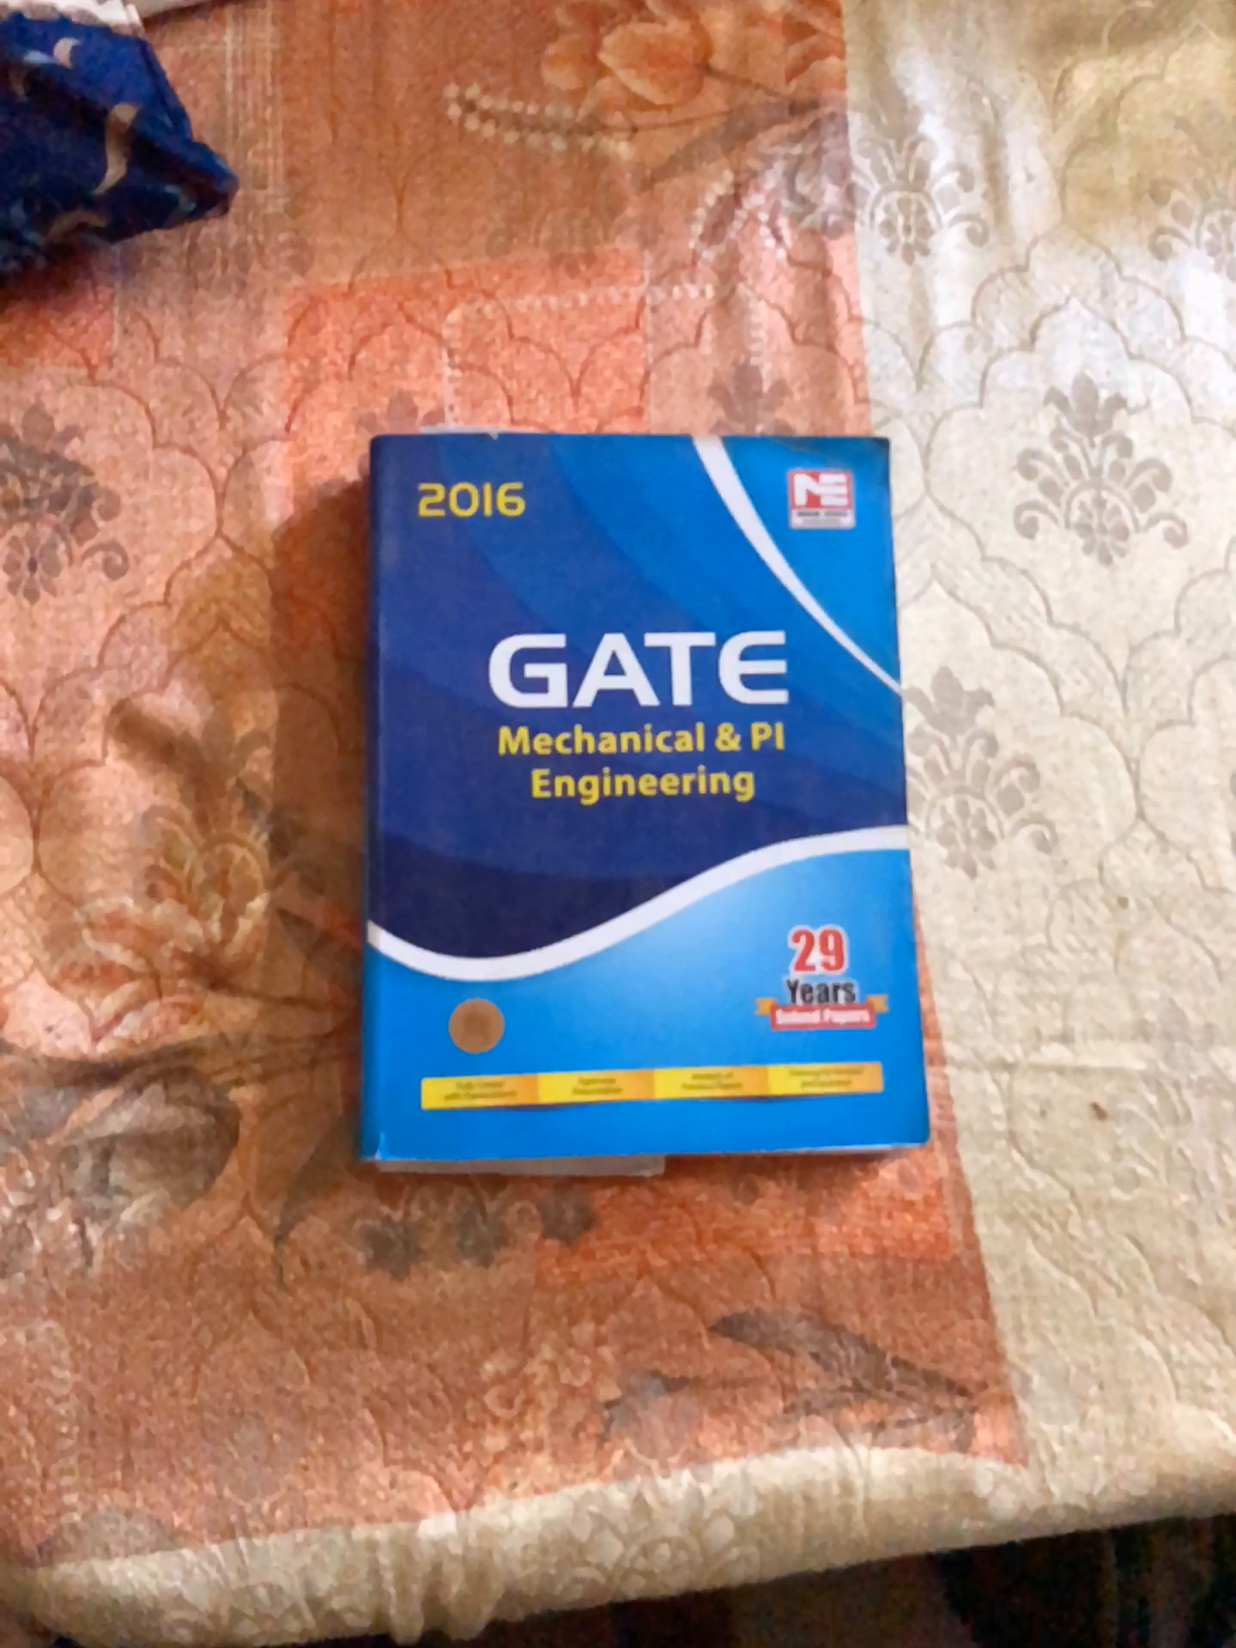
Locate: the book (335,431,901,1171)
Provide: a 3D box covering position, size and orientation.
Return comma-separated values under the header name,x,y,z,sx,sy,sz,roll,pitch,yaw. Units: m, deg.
name,x,y,z,sx,sy,sz,roll,pitch,yaw
book,-0.002,-0.012,0.540,0.200,0.051,0.280,0,79,-2
